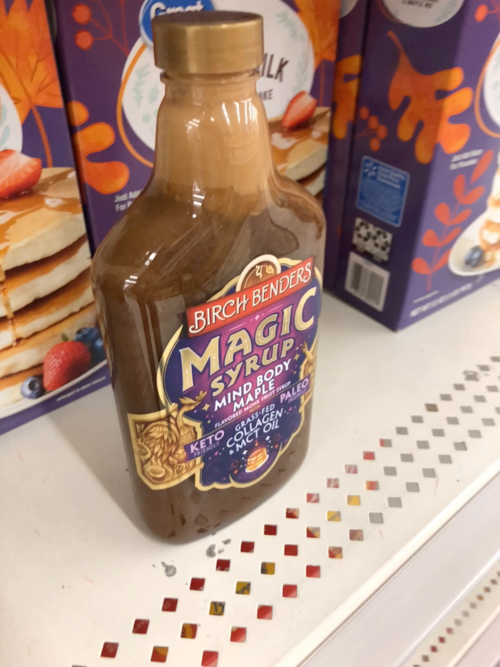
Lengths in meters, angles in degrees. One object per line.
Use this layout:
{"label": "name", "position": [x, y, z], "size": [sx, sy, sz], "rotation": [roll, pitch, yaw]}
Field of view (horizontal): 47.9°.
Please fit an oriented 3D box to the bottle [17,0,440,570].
{"label": "bottle", "position": [-0.003, -0.013, 0.200], "size": [0.100, 0.180, 0.050], "rotation": [-24, 43, -30]}
